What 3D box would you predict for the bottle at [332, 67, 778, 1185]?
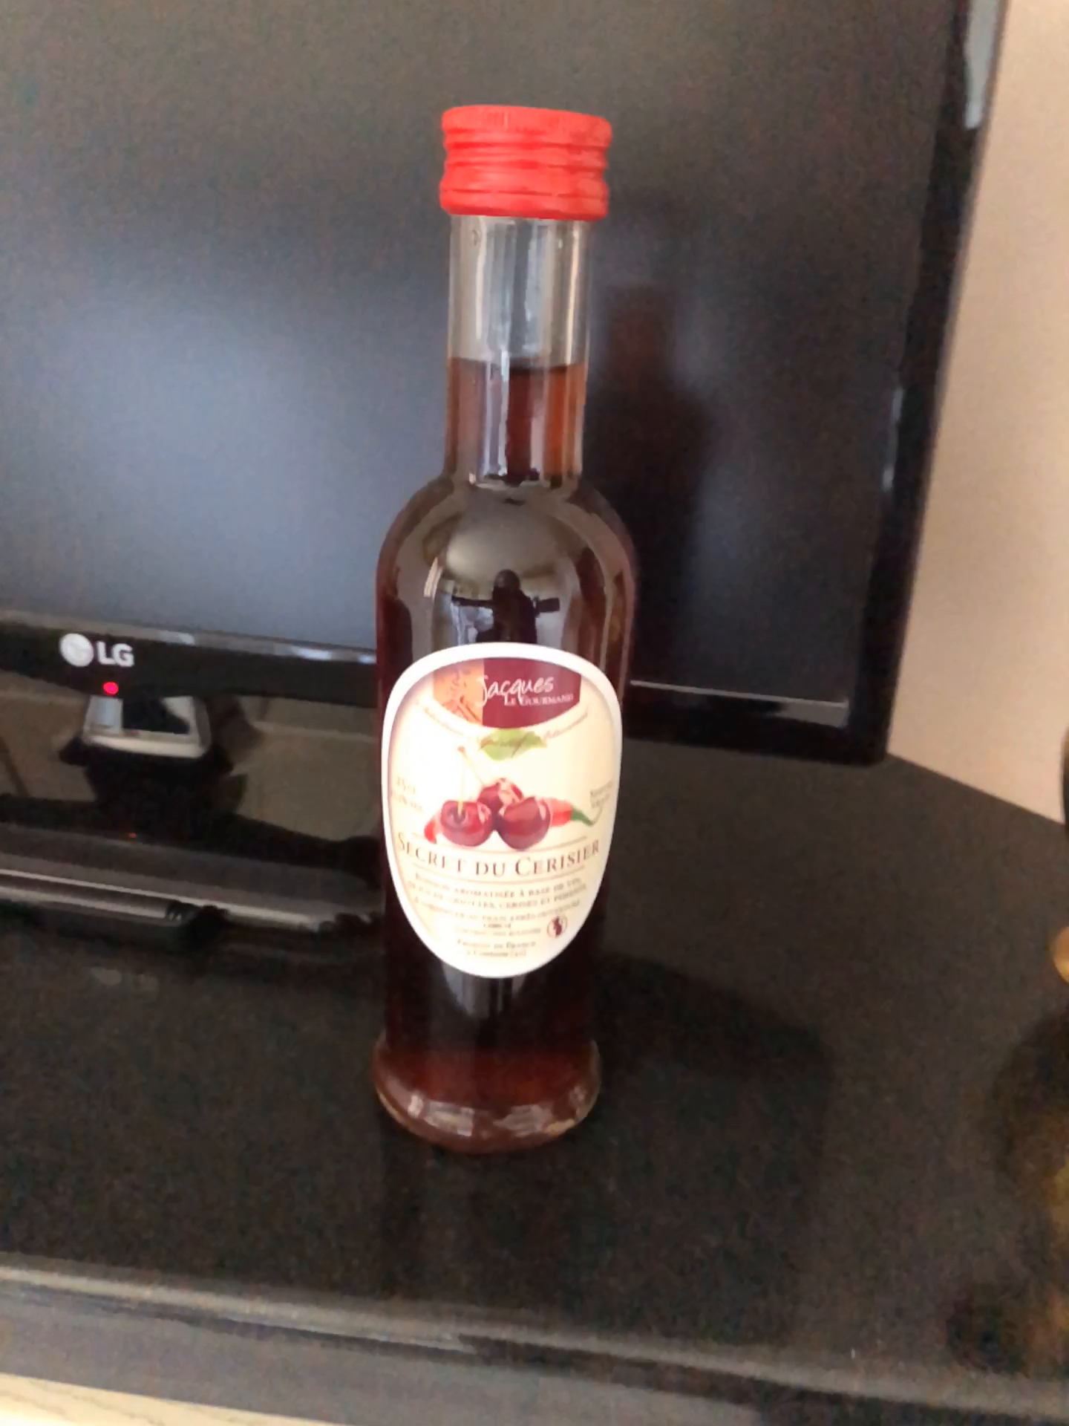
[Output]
[{"bbox_3d":[-0.002,-0.010,0.258,0.070,0.219,0.070,2,21,-1],"label":"bottle"}]
